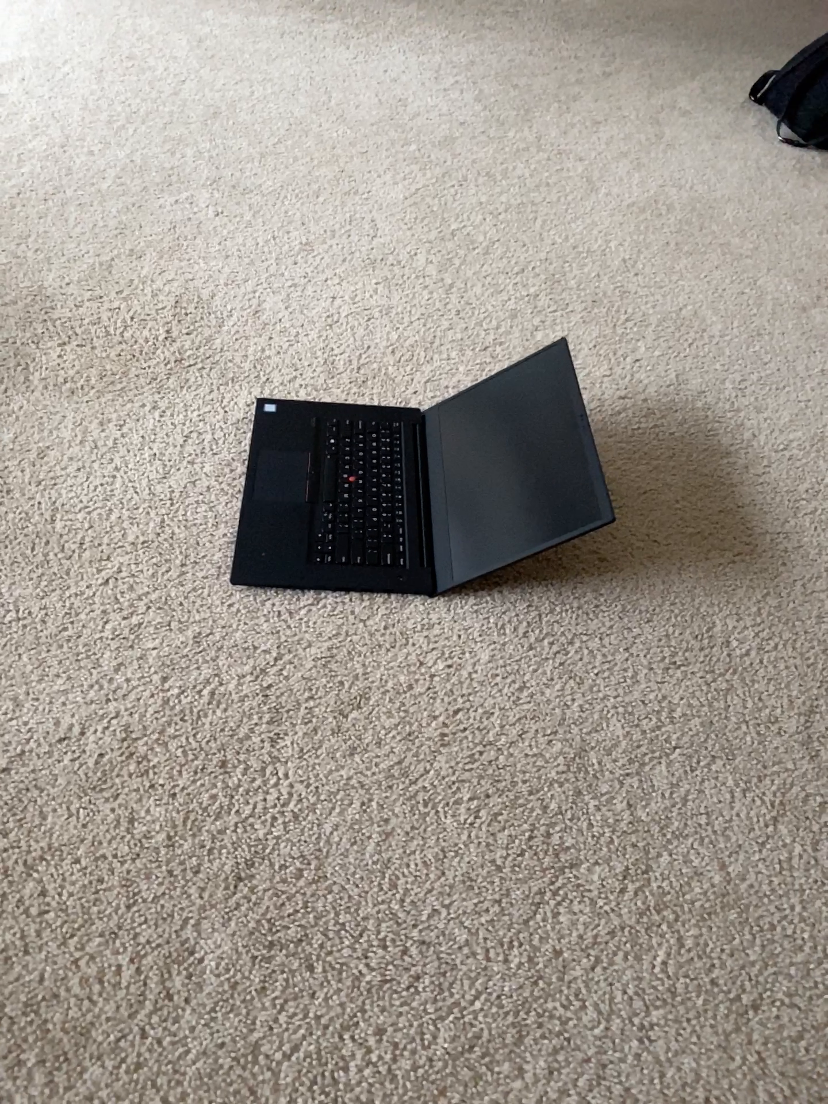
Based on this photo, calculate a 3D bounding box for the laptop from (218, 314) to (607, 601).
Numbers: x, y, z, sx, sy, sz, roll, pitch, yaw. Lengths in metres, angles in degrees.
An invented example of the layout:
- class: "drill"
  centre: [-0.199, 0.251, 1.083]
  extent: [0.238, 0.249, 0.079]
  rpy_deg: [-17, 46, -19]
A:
- class: "laptop"
  centre: [-0.009, -0.132, 1.100]
  extent: [0.432, 0.141, 0.361]
  rpy_deg: [3, 47, -6]
